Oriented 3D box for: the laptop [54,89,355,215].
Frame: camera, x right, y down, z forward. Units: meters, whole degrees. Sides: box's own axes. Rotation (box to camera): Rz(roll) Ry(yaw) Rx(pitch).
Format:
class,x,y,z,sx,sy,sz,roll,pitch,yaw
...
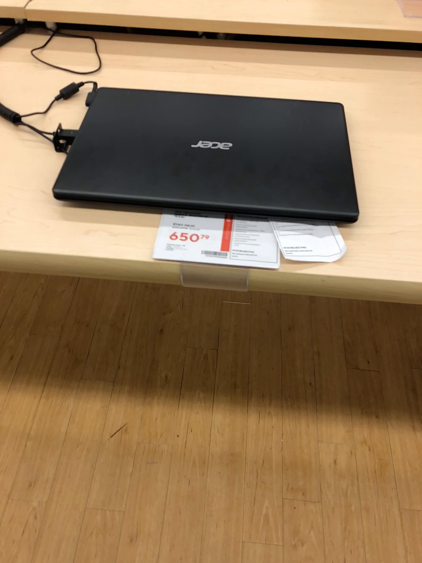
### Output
class,x,y,z,sx,sy,sz,roll,pitch,yaw
laptop,0.002,-0.175,0.593,0.346,0.003,0.213,5,53,1
